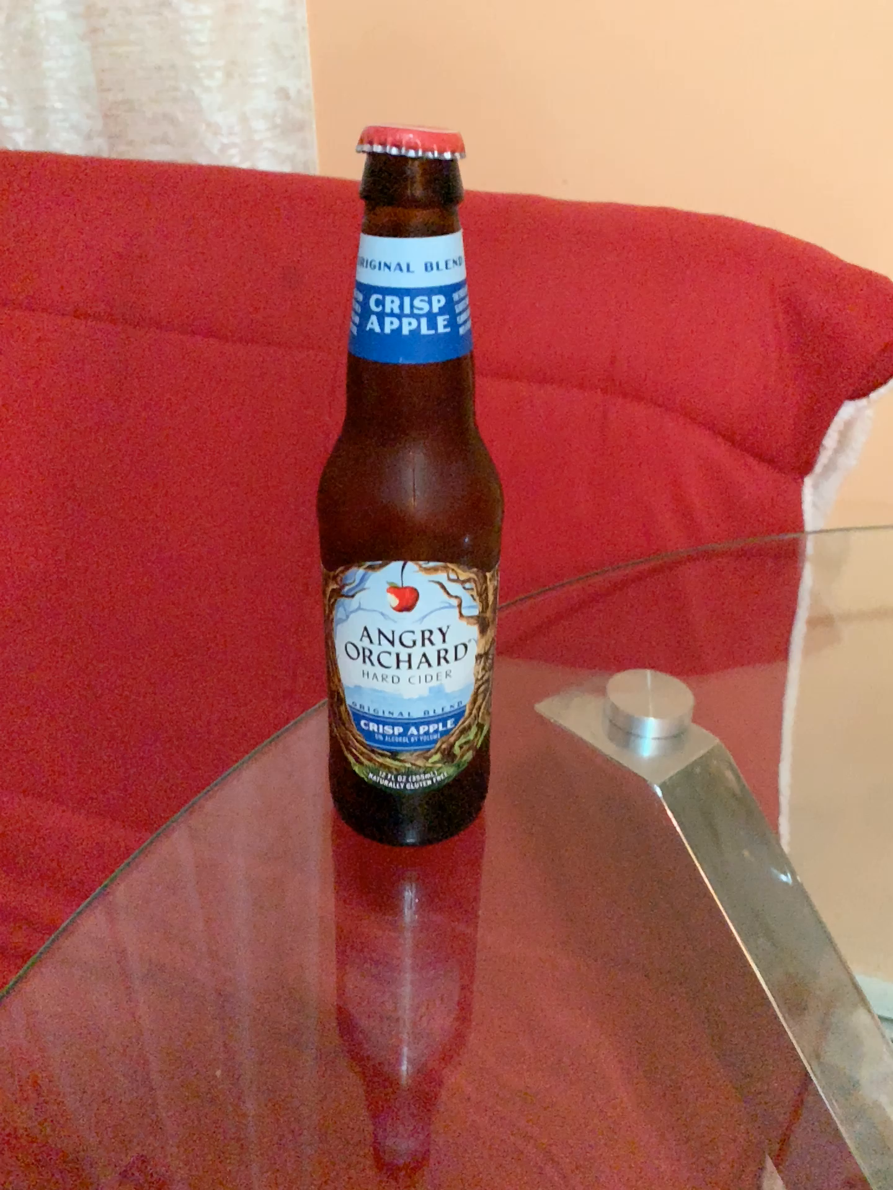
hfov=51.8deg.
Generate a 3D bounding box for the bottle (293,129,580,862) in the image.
[{"bbox_3d":[-0.009,-0.024,0.307,0.070,0.231,0.070,3,27,-1],"label":"bottle"}]
